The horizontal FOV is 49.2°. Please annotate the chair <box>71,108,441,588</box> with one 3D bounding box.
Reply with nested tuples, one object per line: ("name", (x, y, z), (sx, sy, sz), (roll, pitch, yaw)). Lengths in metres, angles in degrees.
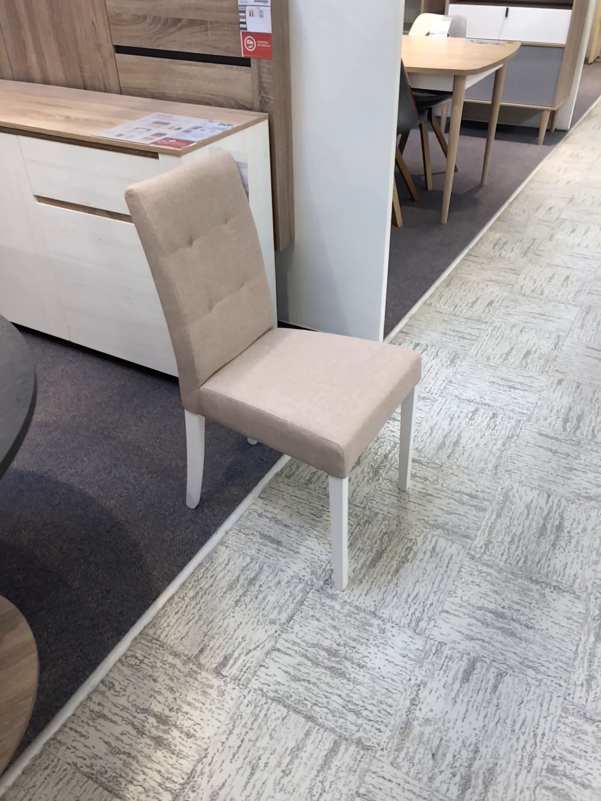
("chair", (-0.061, -0.121, 1.453), (0.530, 0.855, 0.433), (18, 40, 25))
